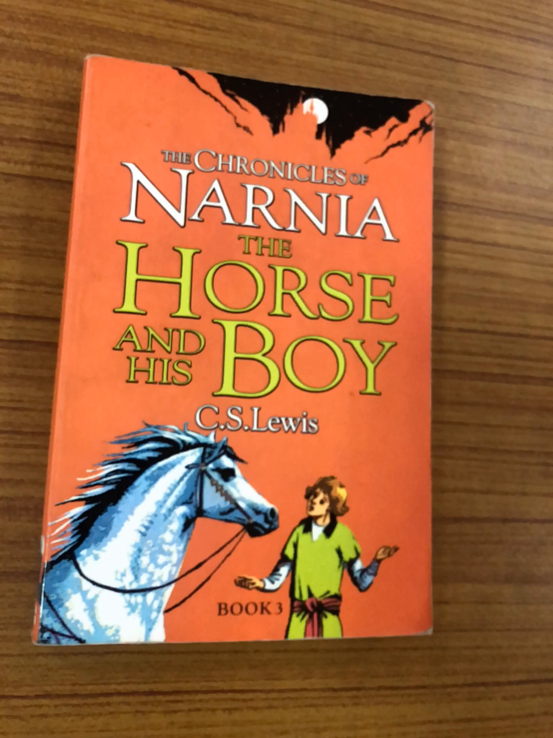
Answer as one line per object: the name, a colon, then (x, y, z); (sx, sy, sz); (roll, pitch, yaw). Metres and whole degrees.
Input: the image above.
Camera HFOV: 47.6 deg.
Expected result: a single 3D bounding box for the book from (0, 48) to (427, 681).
book: (-0.015, -0.002, 0.215); (0.130, 0.030, 0.190); (4, 82, -12)
